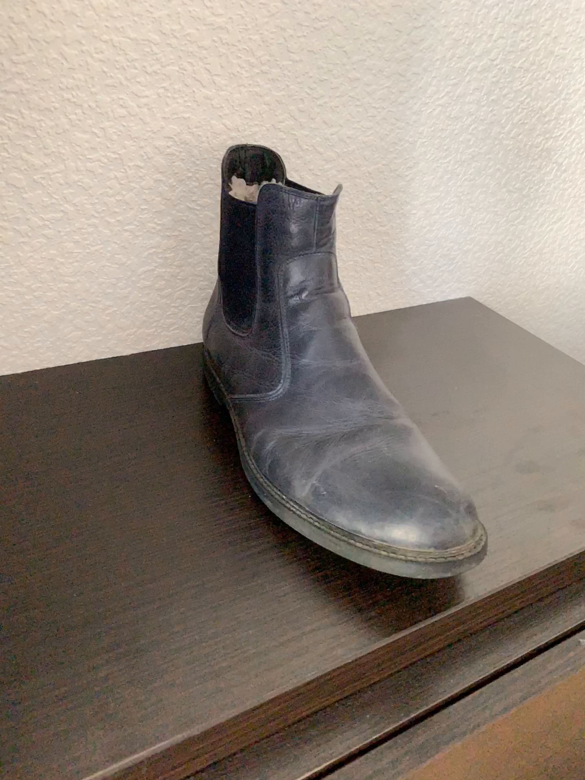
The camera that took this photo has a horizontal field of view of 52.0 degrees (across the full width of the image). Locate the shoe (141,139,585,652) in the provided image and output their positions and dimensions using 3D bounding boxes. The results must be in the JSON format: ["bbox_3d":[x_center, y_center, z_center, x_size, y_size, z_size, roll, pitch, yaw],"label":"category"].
[{"bbox_3d":[0.008,-0.035,0.365,0.110,0.159,0.301,-12,37,-26],"label":"shoe"}]
